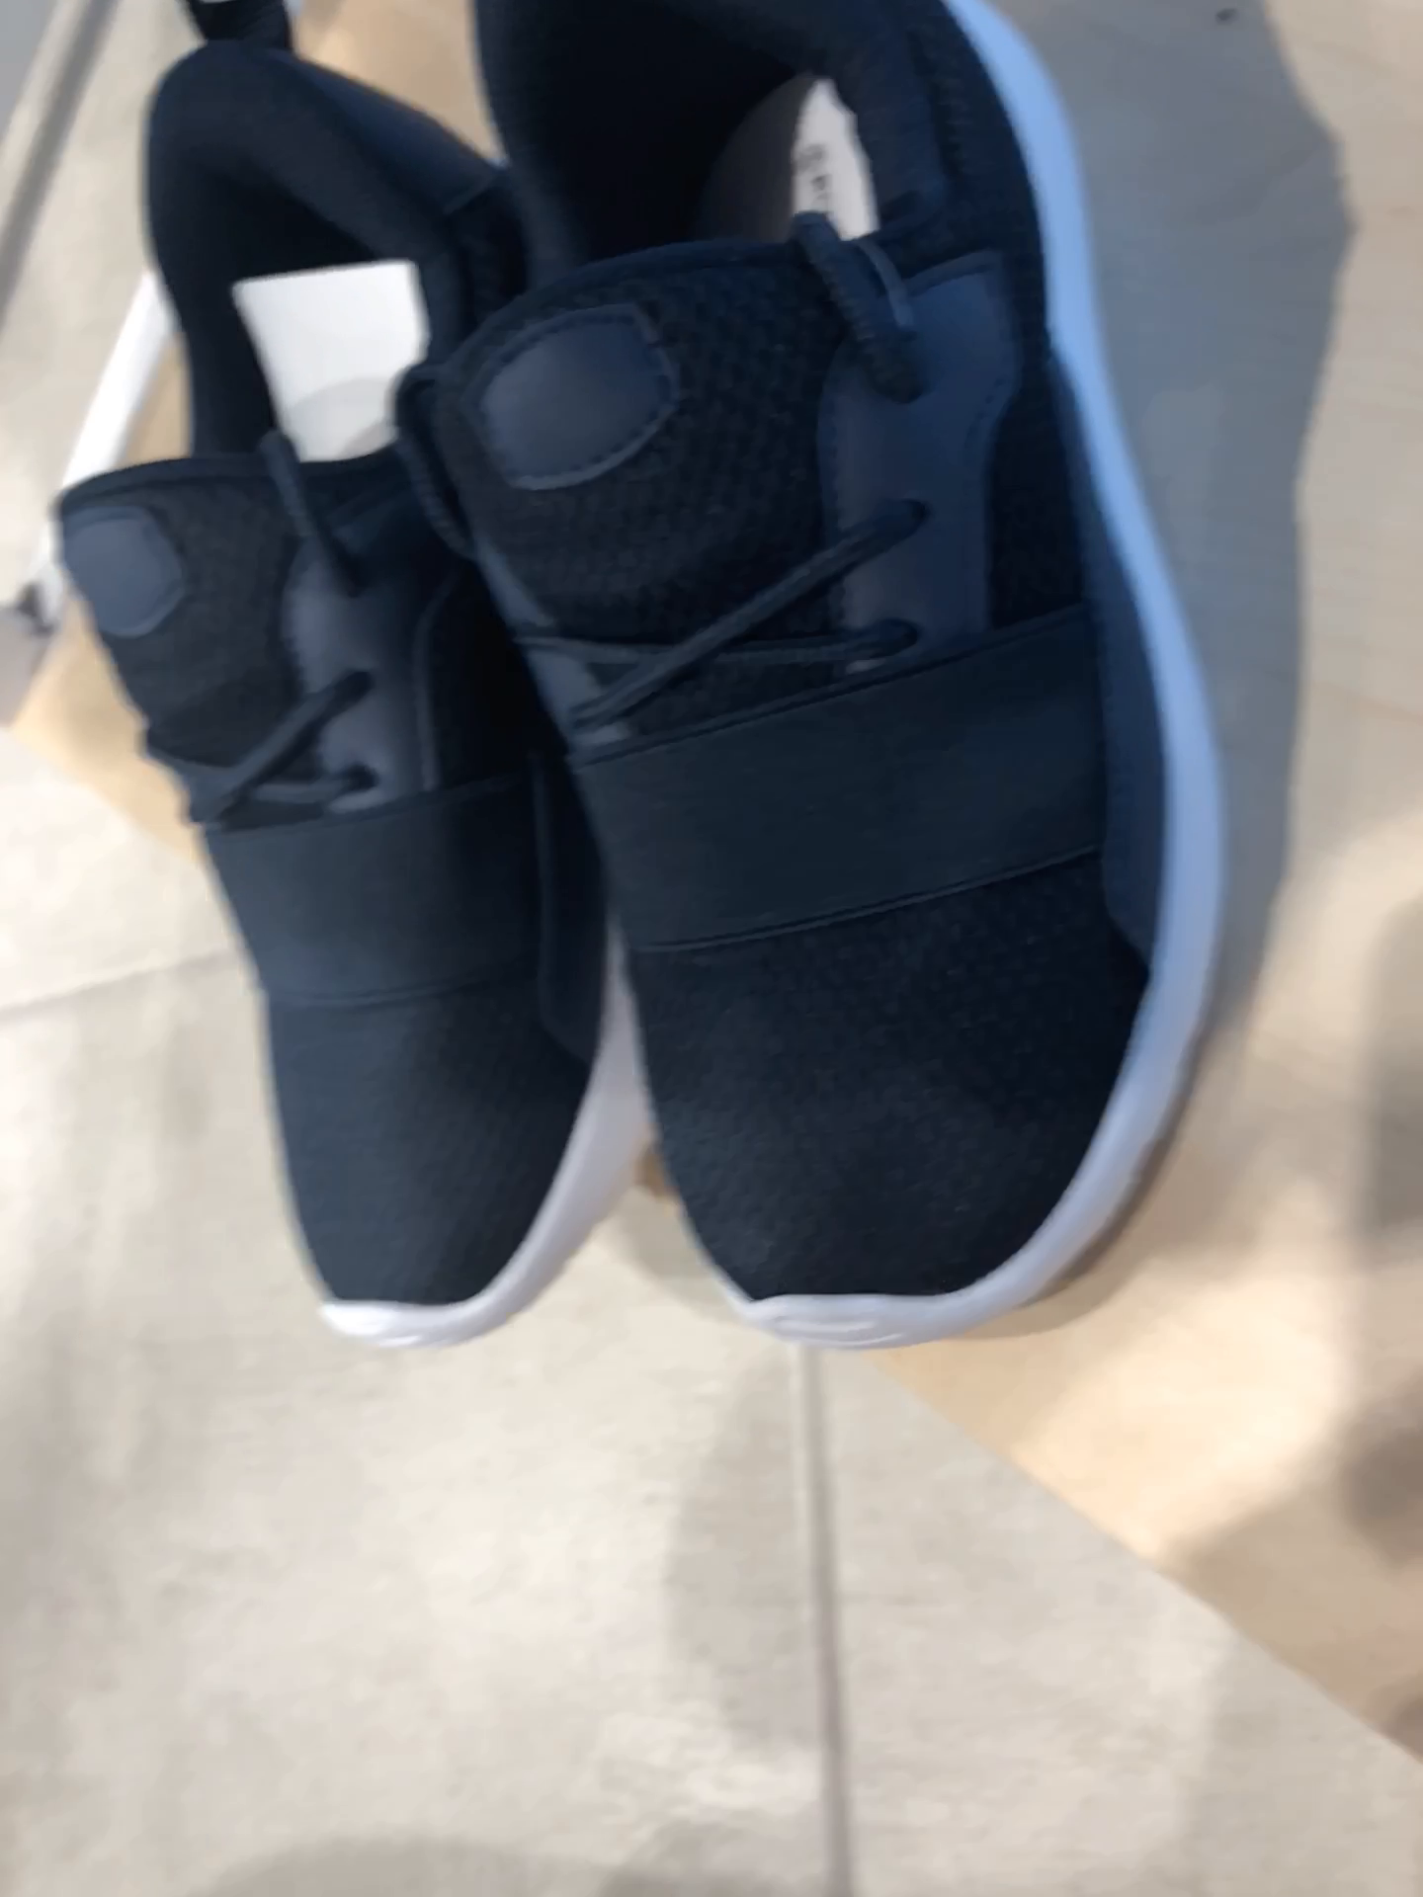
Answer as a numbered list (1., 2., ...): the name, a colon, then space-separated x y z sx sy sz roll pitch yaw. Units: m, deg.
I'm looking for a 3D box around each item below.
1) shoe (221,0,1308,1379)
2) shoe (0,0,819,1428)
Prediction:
1. shoe: 0.006 -0.065 0.232 0.100 0.100 0.240 -11 74 34
2. shoe: -0.052 -0.050 0.279 0.090 0.100 0.240 -3 79 36
